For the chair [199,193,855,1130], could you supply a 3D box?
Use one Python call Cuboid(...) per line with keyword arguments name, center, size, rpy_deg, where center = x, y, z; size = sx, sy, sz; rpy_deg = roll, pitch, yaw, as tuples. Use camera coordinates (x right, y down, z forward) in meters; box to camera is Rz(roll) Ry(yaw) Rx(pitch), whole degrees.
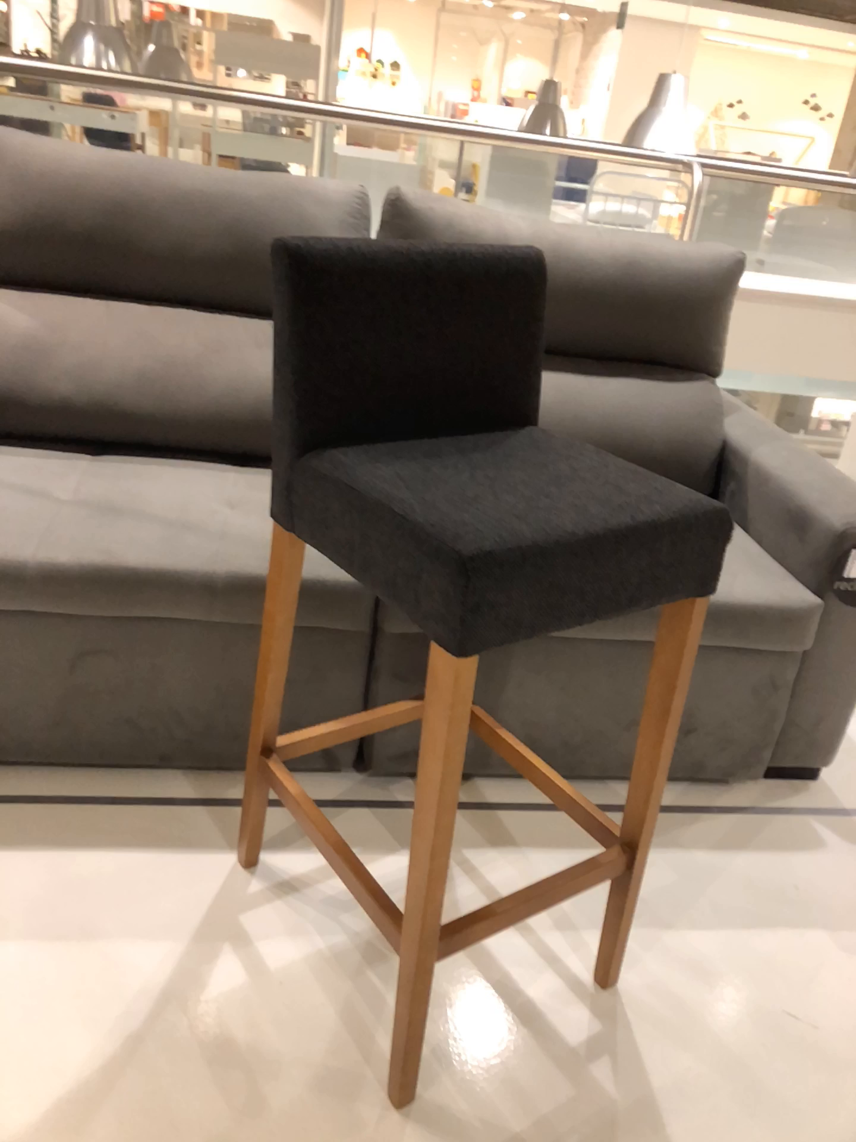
Cuboid(name="chair", center=(0.043, 0.068, 1.257), size=(0.451, 0.973, 0.582), rpy_deg=(-9, 29, -35))
